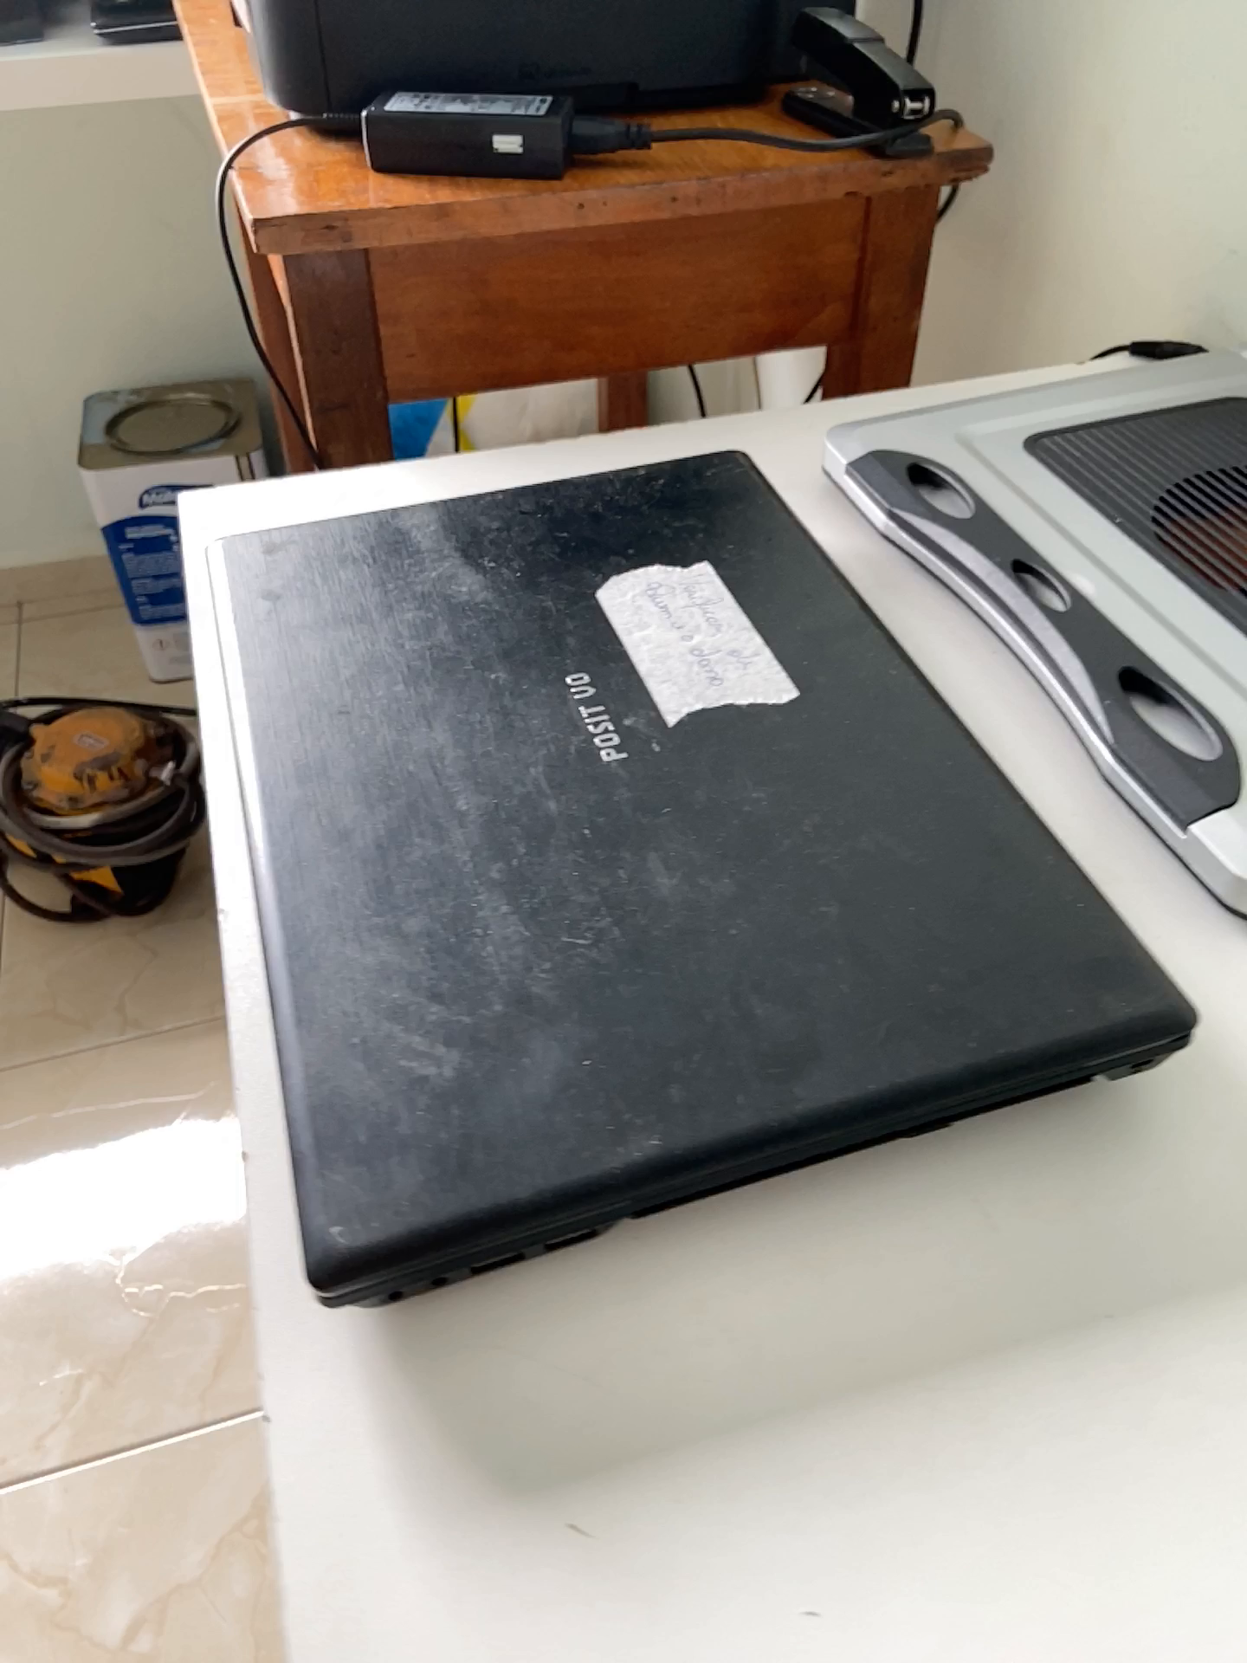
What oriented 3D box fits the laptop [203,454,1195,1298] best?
[{"bbox_3d":[-0.010,-0.029,0.433,0.233,0.008,0.330,-14,45,-11],"label":"laptop"}]
